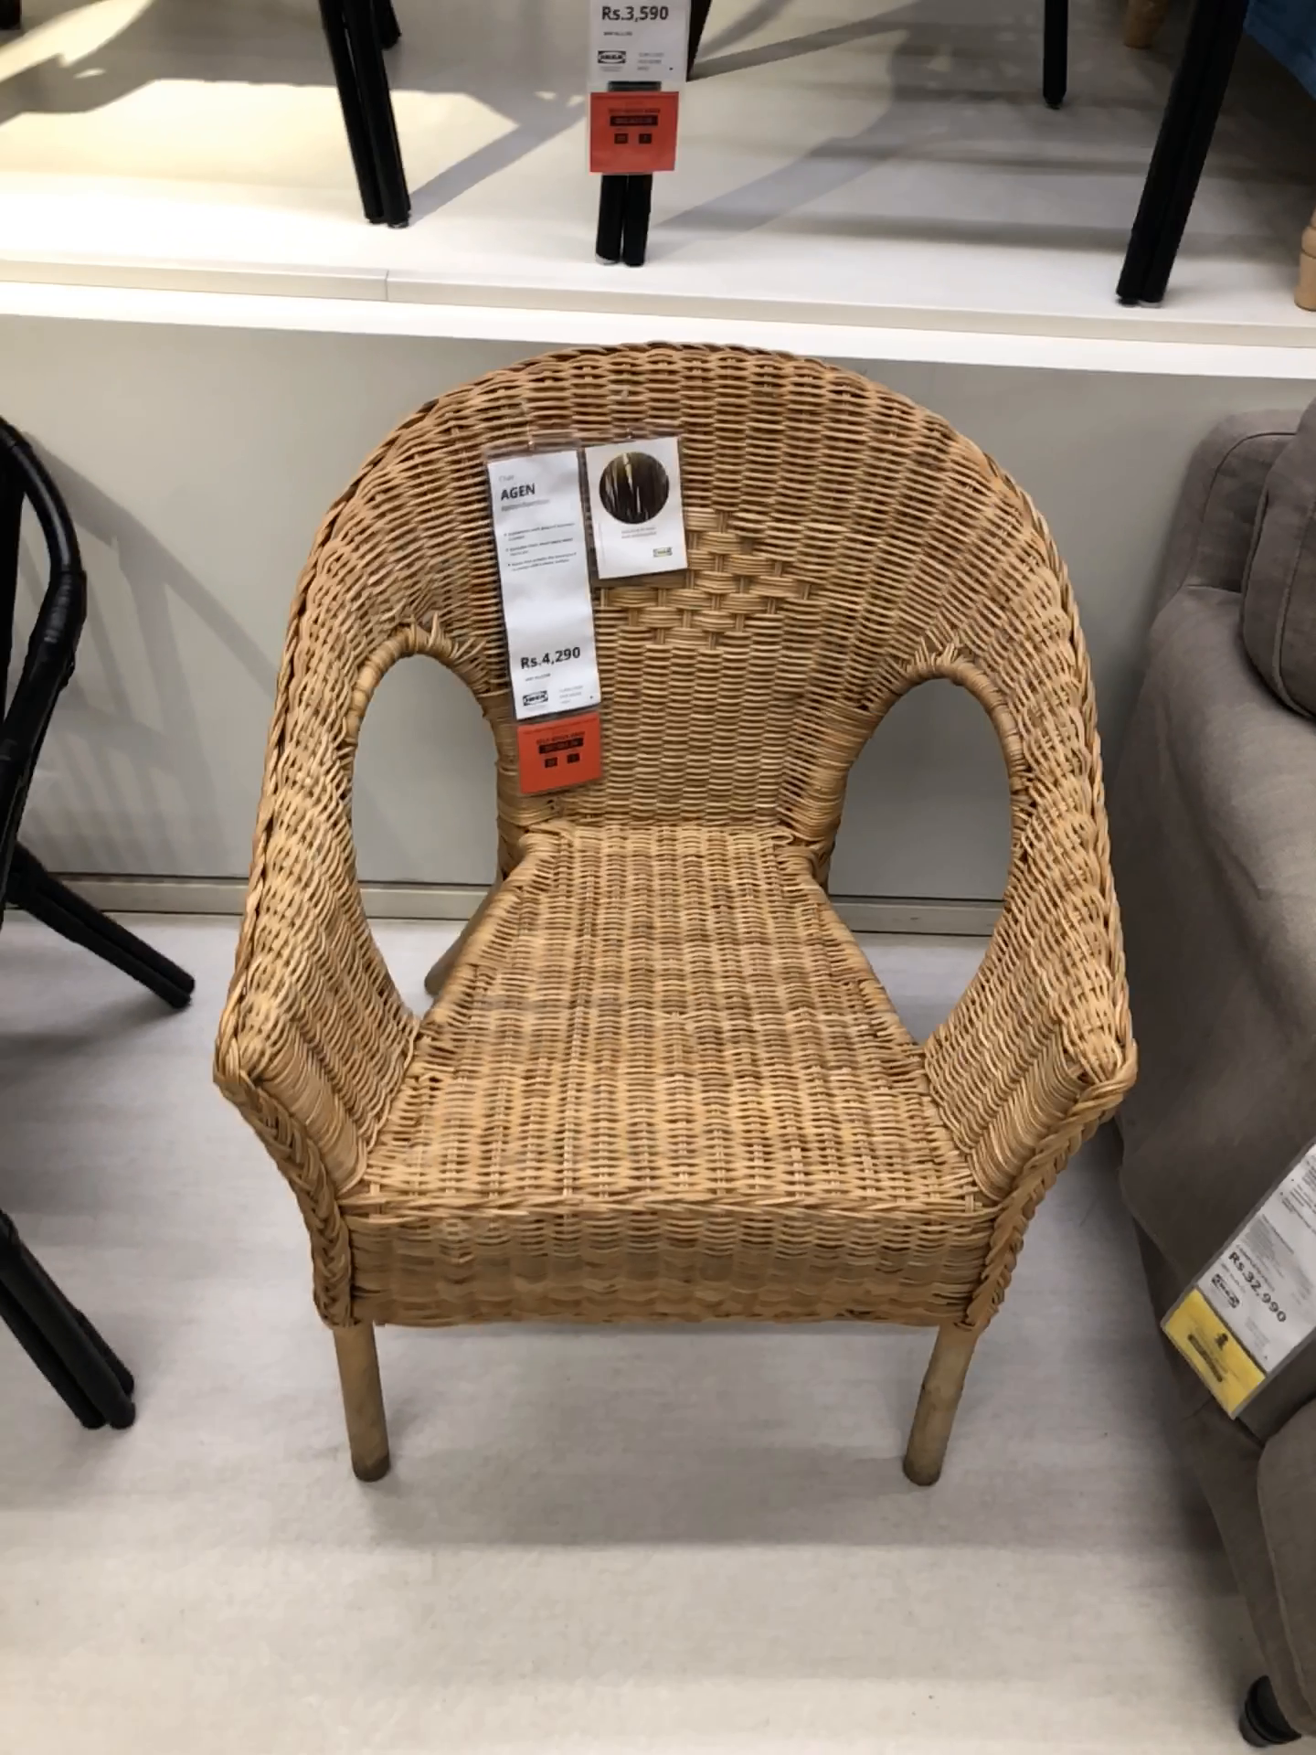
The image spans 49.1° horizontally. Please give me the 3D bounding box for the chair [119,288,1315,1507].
[{"bbox_3d":[0.020,0.040,1.100,0.550,0.696,0.603,2,47,-2],"label":"chair"}]
